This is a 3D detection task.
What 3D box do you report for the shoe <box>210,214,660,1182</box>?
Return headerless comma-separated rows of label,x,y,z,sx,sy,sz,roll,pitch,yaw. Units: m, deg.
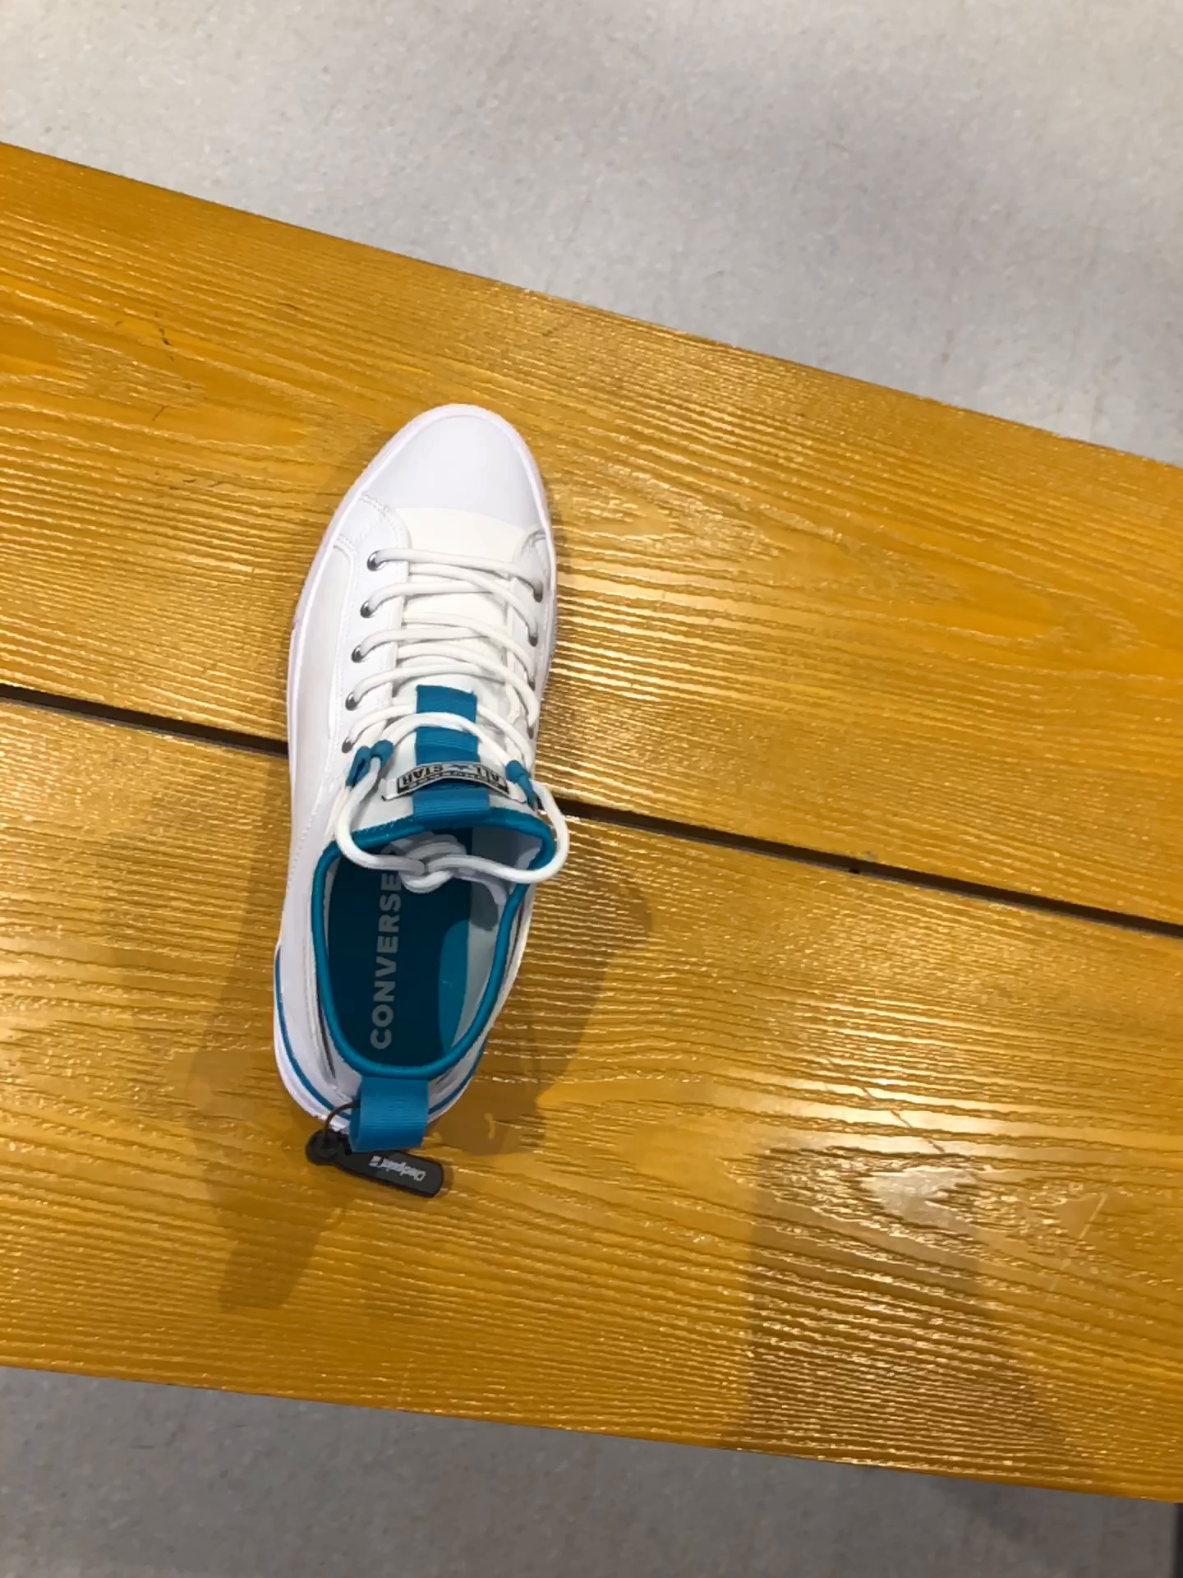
shoe,-0.057,-0.020,0.472,0.108,0.158,0.294,7,76,-11
